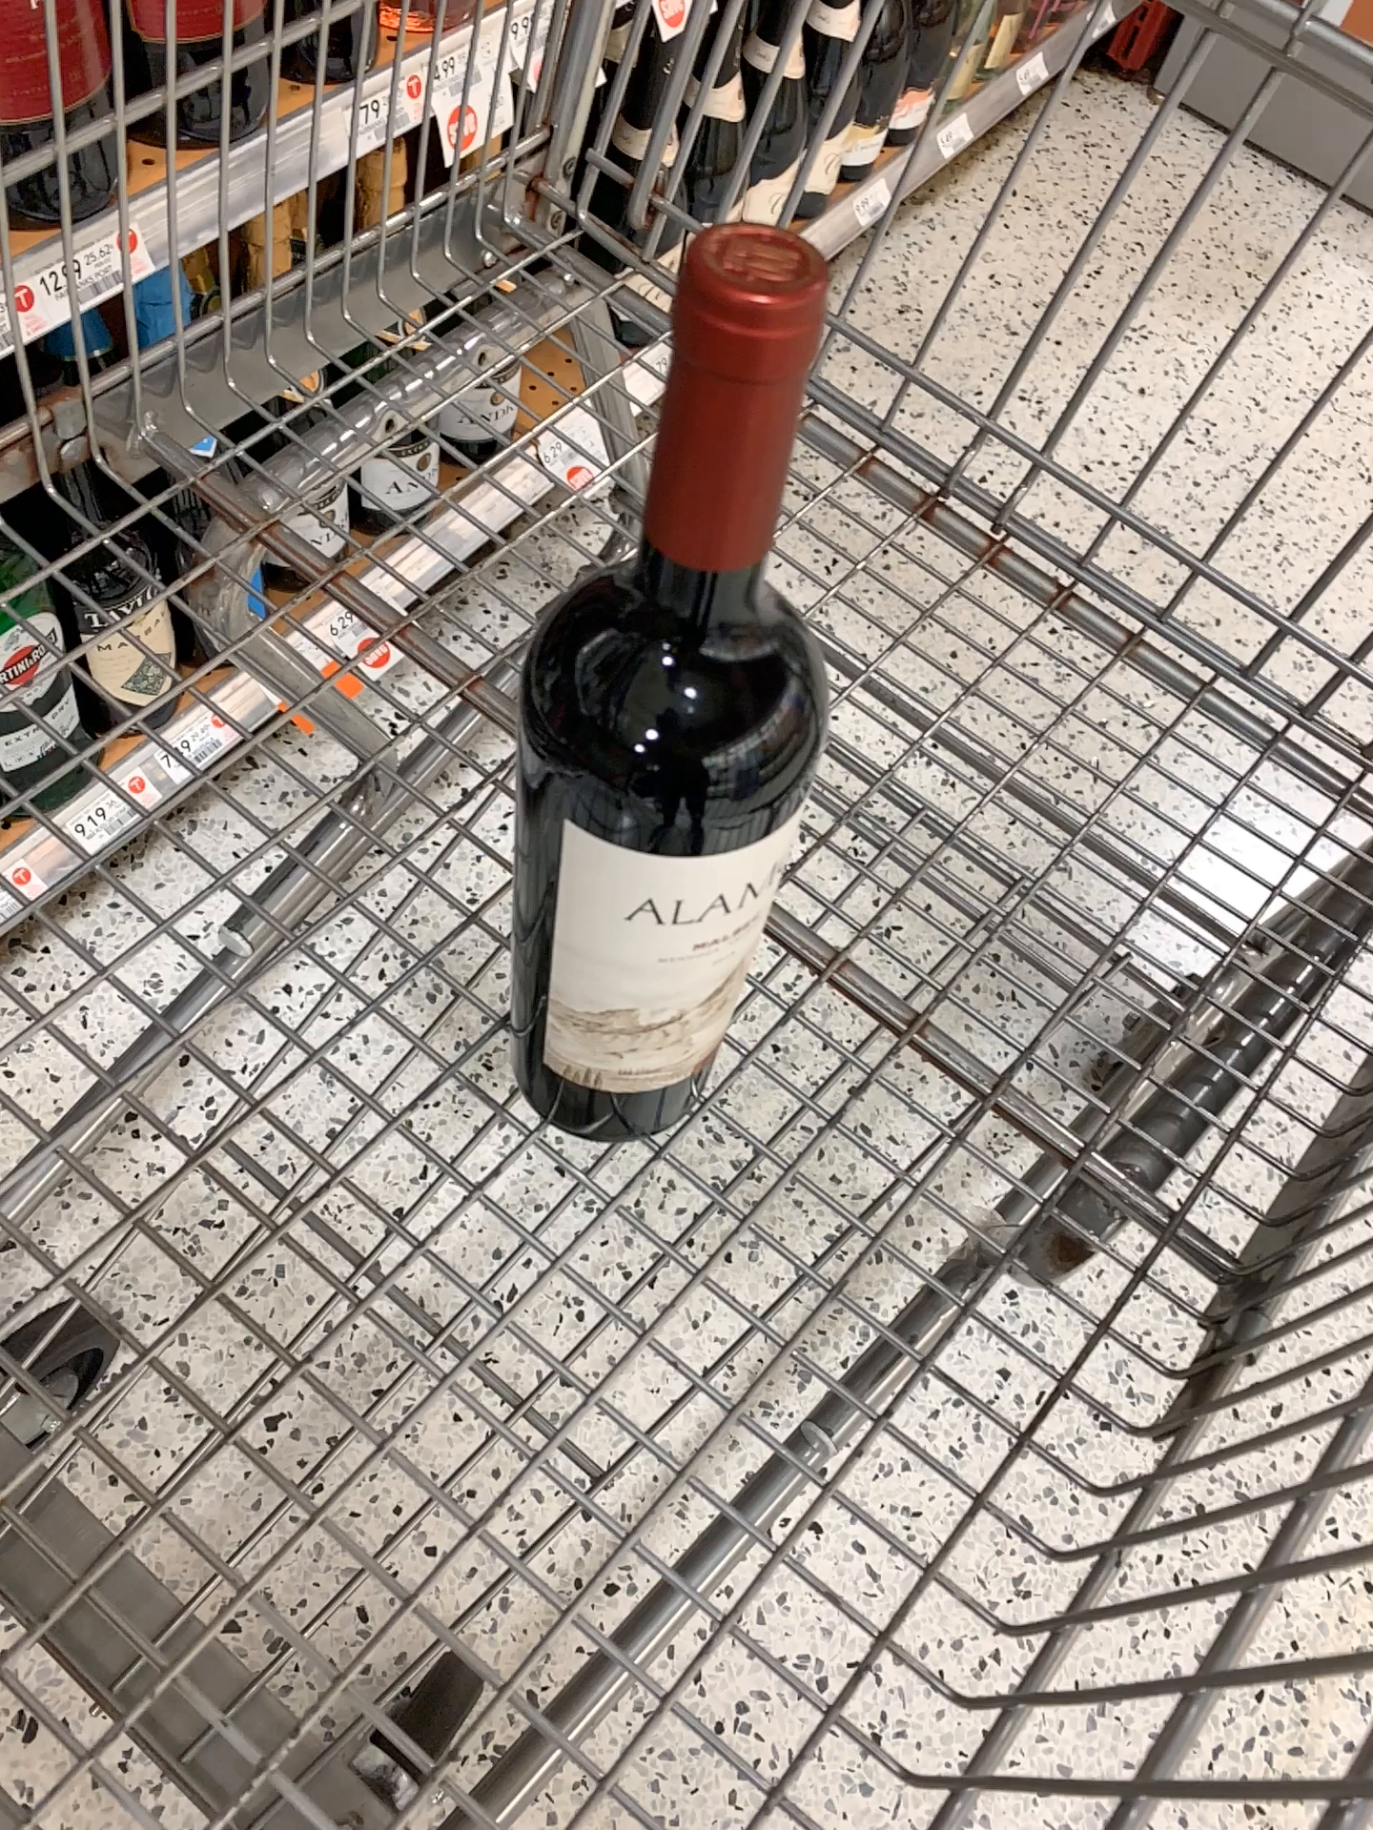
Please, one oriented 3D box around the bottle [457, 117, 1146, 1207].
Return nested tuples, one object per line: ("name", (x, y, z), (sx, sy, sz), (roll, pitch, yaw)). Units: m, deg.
("bottle", (0.000, -0.031, 0.367), (0.090, 0.298, 0.080), (-23, 64, -22))
